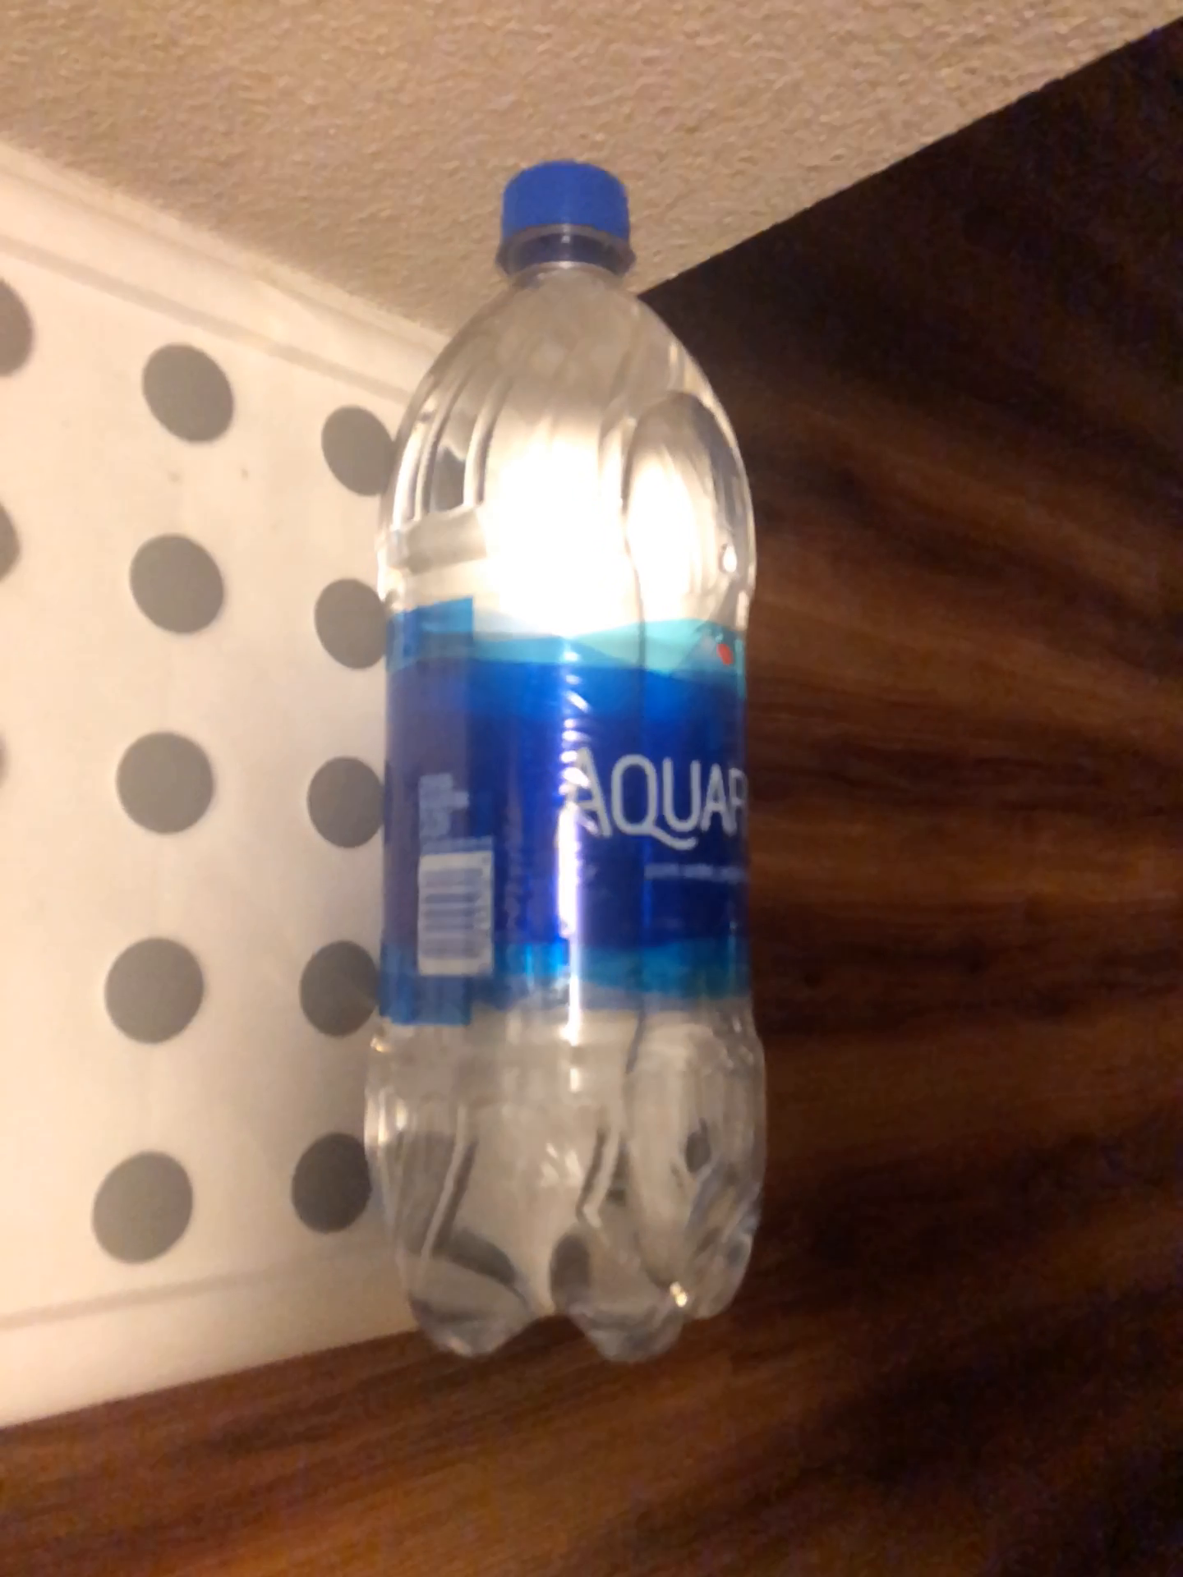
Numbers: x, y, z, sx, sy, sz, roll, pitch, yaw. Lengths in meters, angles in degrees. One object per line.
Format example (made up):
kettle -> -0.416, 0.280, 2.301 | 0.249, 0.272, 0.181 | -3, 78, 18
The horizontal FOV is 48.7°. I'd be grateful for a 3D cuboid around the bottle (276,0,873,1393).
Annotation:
bottle -> -0.002, -0.019, 0.284 | 0.091, 0.079, 0.250 | 10, 77, -44
